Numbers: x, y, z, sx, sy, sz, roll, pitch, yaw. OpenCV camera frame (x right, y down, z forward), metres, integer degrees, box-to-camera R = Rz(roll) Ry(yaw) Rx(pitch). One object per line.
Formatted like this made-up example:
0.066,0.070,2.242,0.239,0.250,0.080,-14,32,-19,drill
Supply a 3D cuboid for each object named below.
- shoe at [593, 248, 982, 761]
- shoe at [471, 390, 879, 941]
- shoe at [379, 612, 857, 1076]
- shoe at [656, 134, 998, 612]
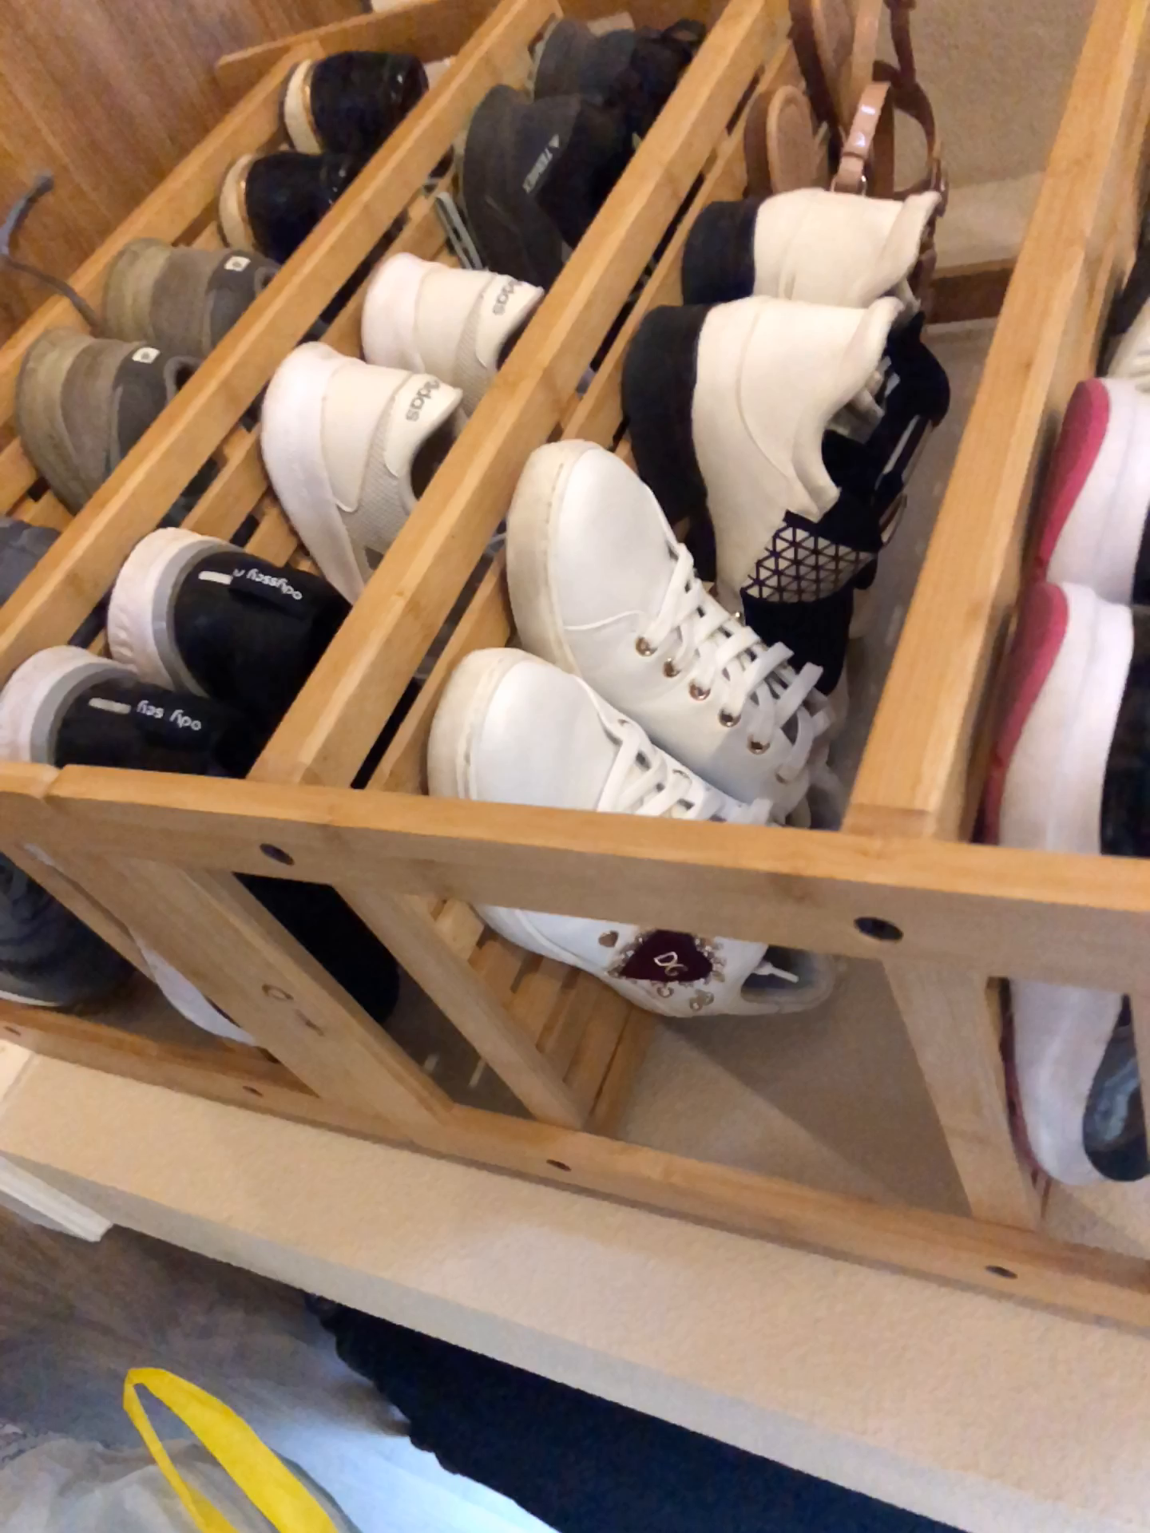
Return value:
0.109,-0.110,0.590,0.090,0.113,0.211,-63,142,-35,shoe
0.058,-0.028,0.538,0.251,0.070,0.090,55,48,-47,shoe
0.037,0.045,0.538,0.262,0.080,0.100,44,56,-53,shoe
0.139,-0.190,0.656,0.090,0.113,0.211,-63,142,-35,shoe
